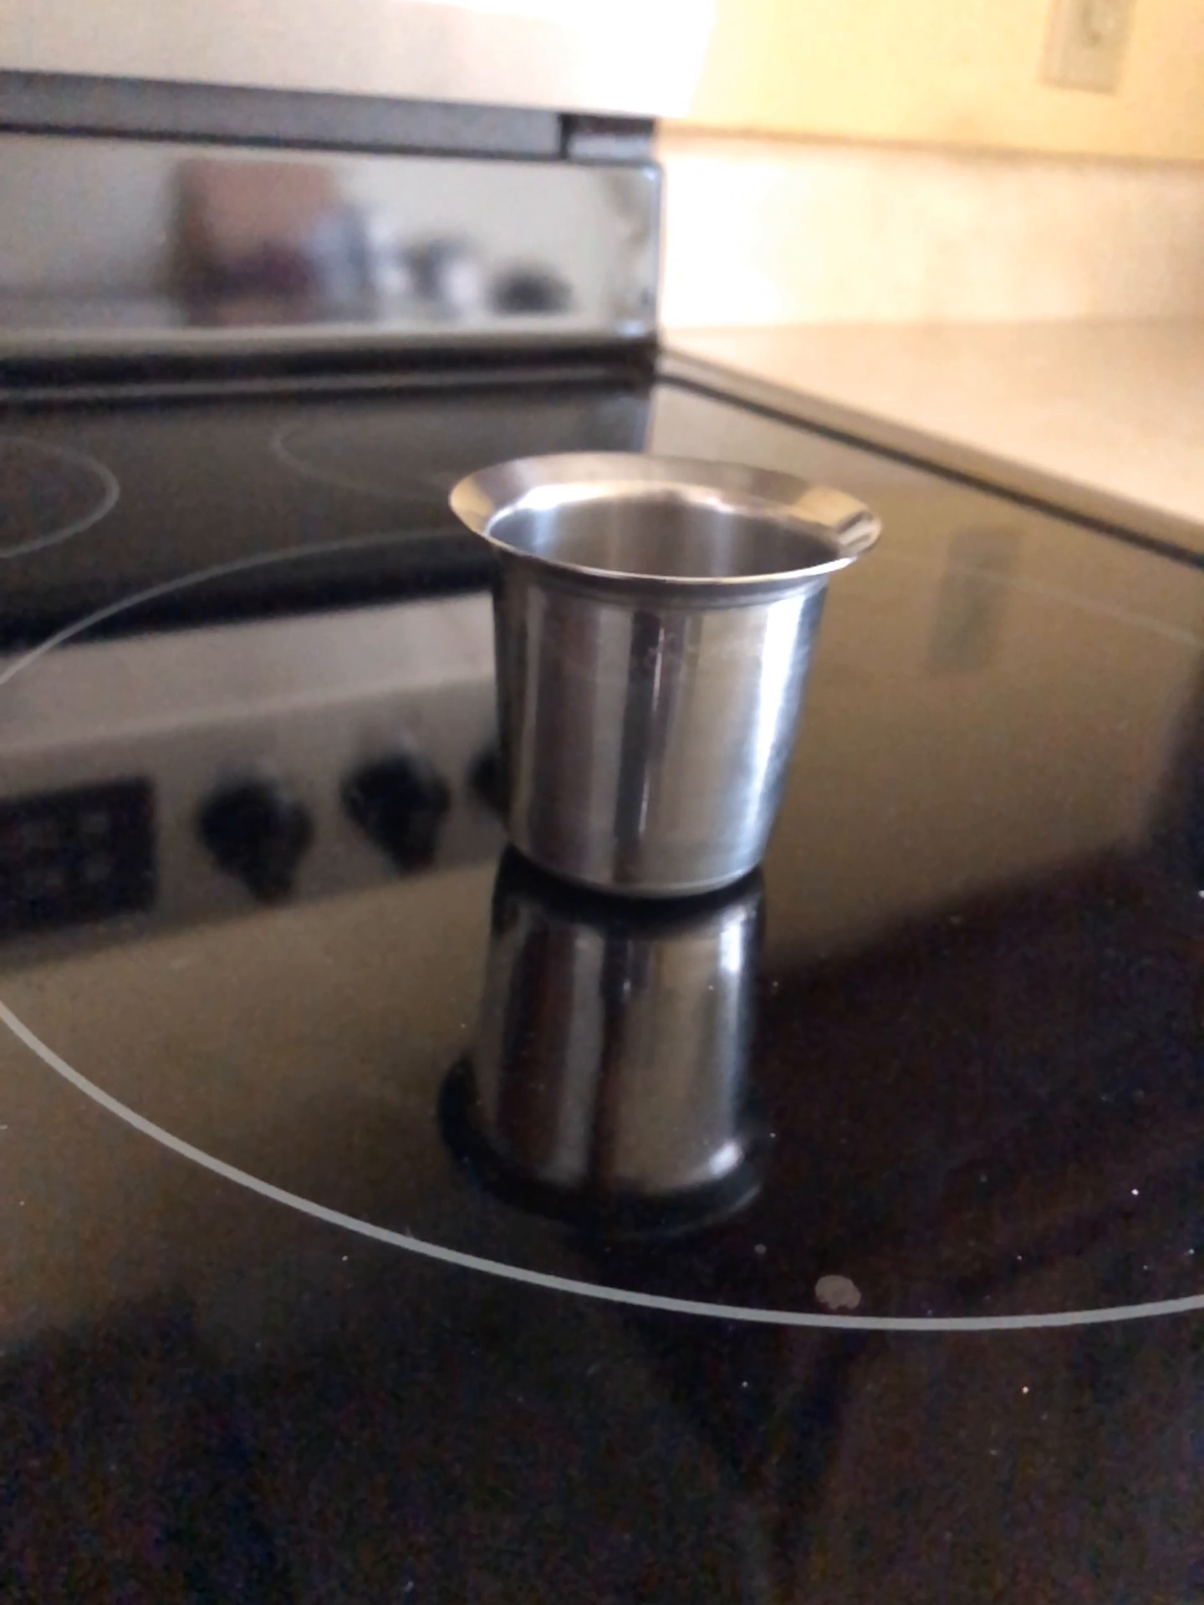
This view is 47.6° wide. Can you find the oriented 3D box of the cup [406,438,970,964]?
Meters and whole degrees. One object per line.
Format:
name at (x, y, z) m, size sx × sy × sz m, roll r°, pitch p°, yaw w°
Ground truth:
cup at (0.006, -0.021, 0.214) m, size 0.066 × 0.056 × 0.073 m, roll 3°, pitch 26°, yaw -2°
